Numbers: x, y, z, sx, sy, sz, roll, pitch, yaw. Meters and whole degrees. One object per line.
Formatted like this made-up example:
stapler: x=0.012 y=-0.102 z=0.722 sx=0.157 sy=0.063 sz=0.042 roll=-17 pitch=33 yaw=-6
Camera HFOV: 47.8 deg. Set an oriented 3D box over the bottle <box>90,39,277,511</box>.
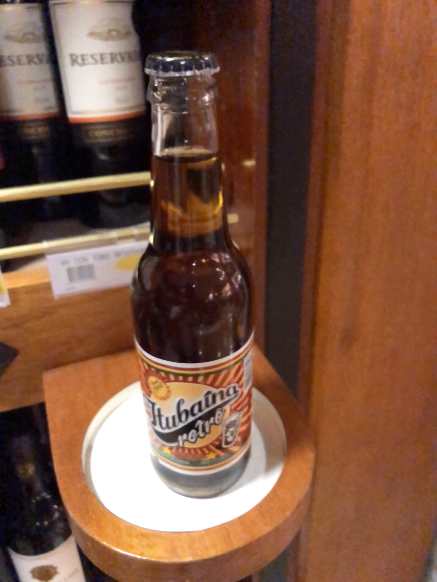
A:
bottle: x=-0.012 y=0.002 z=0.272 sx=0.070 sy=0.248 sz=0.071 roll=-2 pitch=27 yaw=1
